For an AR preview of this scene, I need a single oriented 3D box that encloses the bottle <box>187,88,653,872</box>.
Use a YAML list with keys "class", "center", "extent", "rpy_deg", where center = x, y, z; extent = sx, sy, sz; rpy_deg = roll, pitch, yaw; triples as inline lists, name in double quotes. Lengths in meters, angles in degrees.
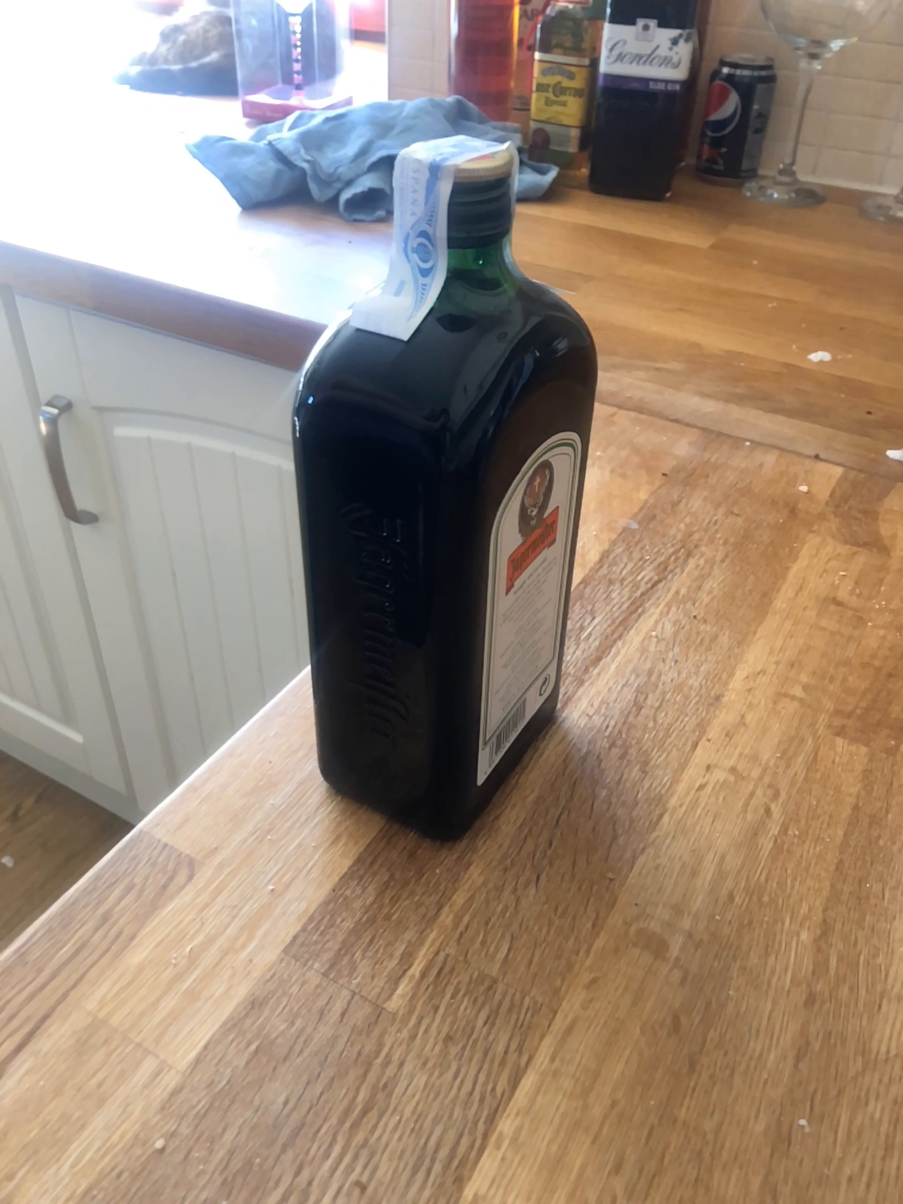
- class: "bottle"
  center: [-0.007, -0.035, 0.326]
  extent: [0.080, 0.218, 0.101]
  rpy_deg: [21, 41, 24]
